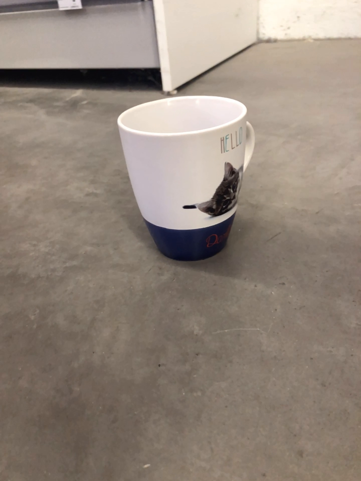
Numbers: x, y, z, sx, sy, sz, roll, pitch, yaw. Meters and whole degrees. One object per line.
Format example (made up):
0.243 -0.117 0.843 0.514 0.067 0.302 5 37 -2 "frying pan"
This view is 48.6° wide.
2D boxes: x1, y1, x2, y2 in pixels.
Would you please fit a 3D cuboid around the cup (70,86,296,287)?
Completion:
0.006 -0.055 0.322 0.111 0.098 0.127 24 43 38 "cup"
